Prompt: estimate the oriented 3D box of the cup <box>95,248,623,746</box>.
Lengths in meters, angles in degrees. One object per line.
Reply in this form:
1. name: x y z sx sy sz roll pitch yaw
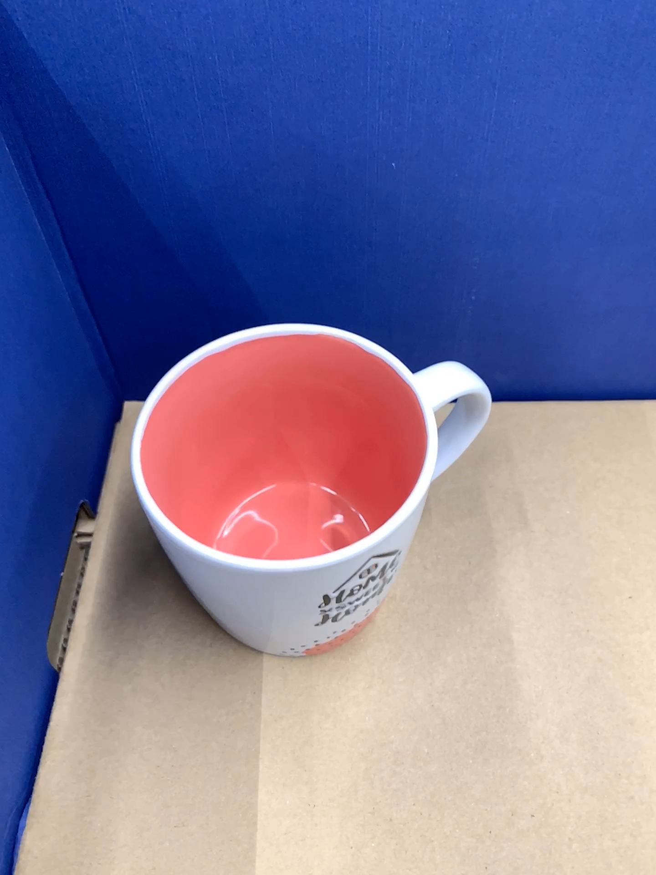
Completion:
1. cup: 0.009 0.012 0.211 0.115 0.070 0.083 -32 56 -22
